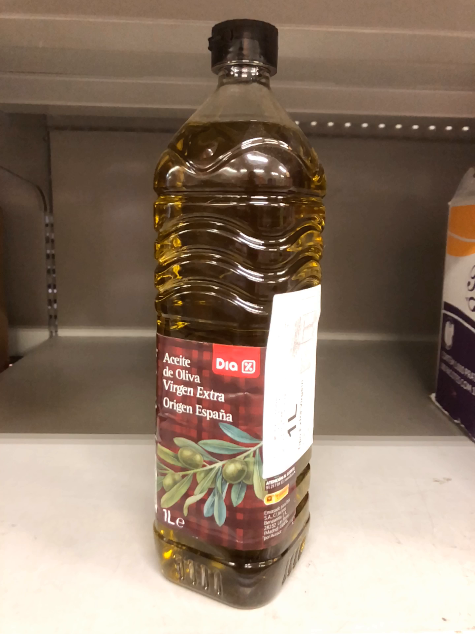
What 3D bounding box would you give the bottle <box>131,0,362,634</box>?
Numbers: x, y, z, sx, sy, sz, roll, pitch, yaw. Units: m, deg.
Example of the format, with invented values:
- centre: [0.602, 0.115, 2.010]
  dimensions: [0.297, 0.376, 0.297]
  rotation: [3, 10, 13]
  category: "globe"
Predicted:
- centre: [0.002, -0.002, 0.262]
  dimensions: [0.080, 0.279, 0.070]
  rotation: [8, 12, 24]
  category: "bottle"
